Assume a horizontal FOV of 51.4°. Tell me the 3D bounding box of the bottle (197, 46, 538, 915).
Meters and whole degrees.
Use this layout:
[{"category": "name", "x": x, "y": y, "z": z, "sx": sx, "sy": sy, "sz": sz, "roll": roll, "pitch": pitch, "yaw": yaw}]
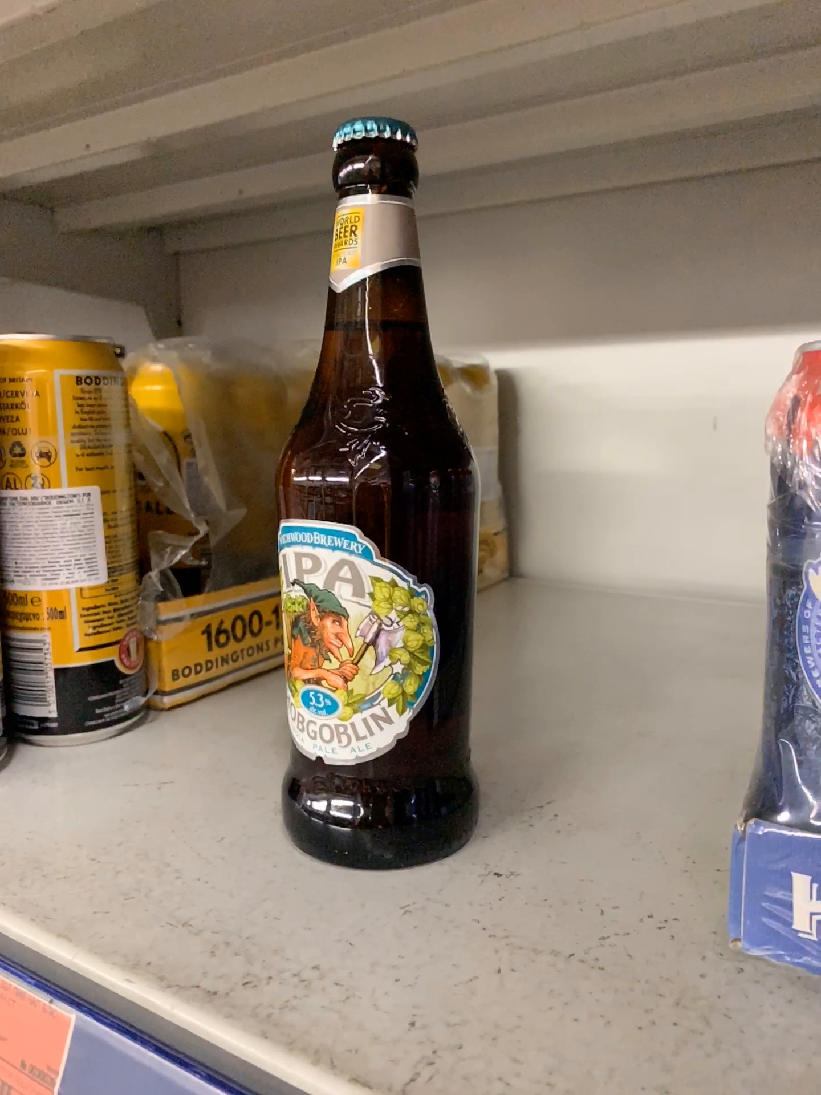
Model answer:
[{"category": "bottle", "x": -0.012, "y": -0.019, "z": 0.301, "sx": 0.080, "sy": 0.249, "sz": 0.080, "roll": -1, "pitch": 8, "yaw": 0}]
